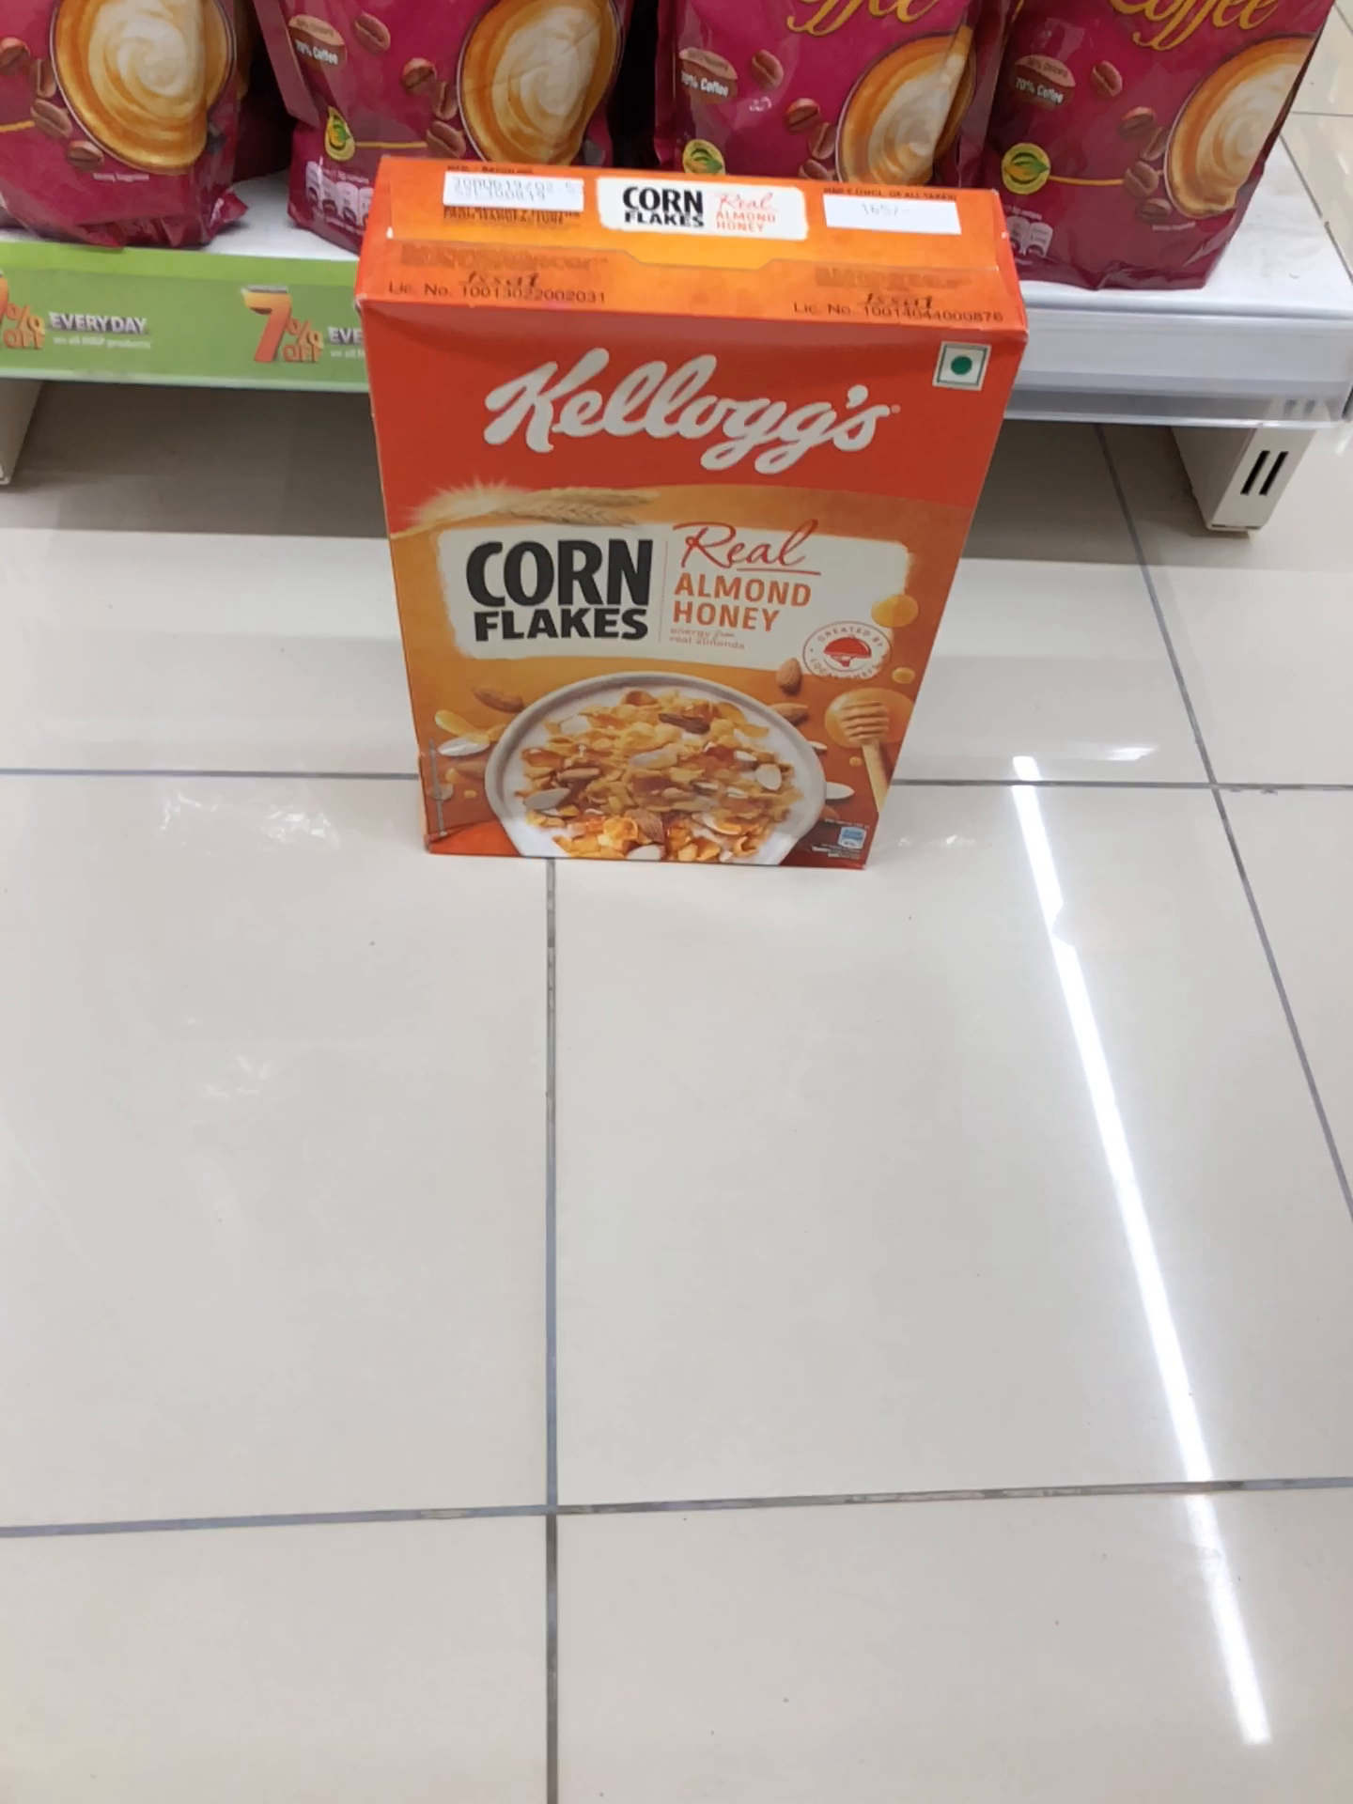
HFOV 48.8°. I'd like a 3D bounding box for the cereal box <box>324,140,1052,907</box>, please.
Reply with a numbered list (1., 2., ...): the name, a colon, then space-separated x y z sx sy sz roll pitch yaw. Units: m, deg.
1. cereal box: -0.003 -0.114 0.541 0.200 0.268 0.080 3 54 -2
